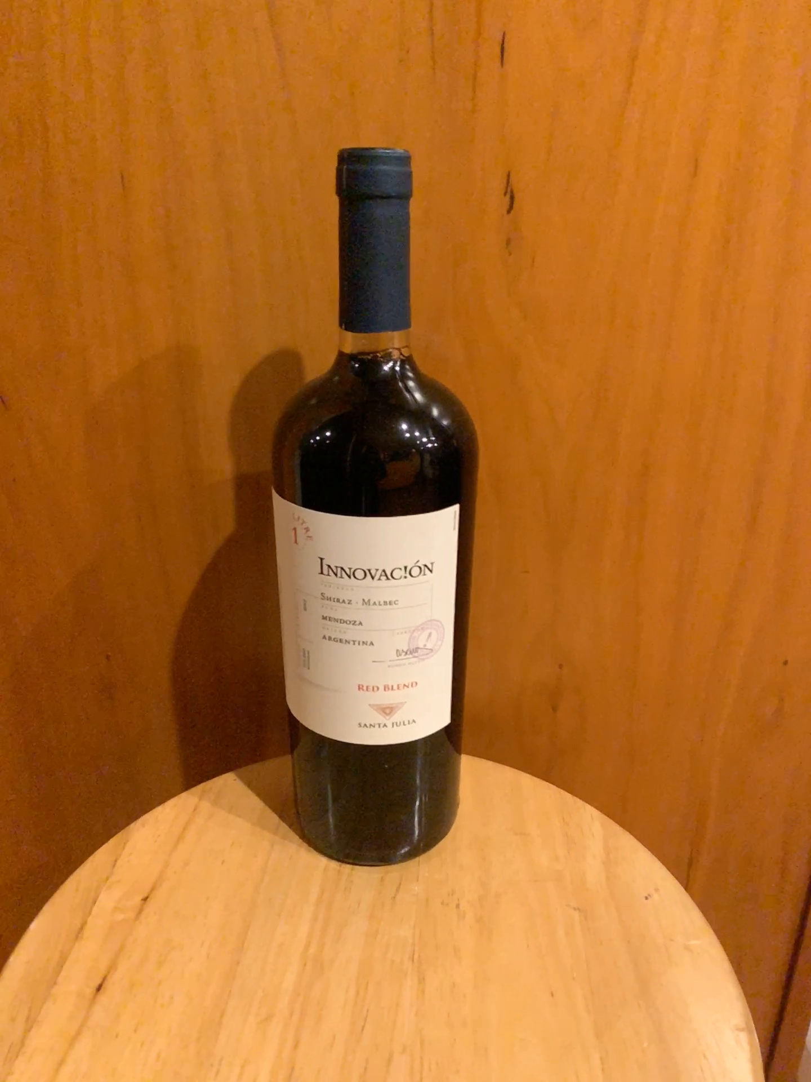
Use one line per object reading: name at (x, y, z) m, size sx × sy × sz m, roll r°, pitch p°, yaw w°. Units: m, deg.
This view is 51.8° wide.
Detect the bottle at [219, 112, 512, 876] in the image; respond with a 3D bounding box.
bottle at (-0.013, -0.008, 0.349) m, size 0.090 × 0.299 × 0.080 m, roll 2°, pitch 22°, yaw 2°
